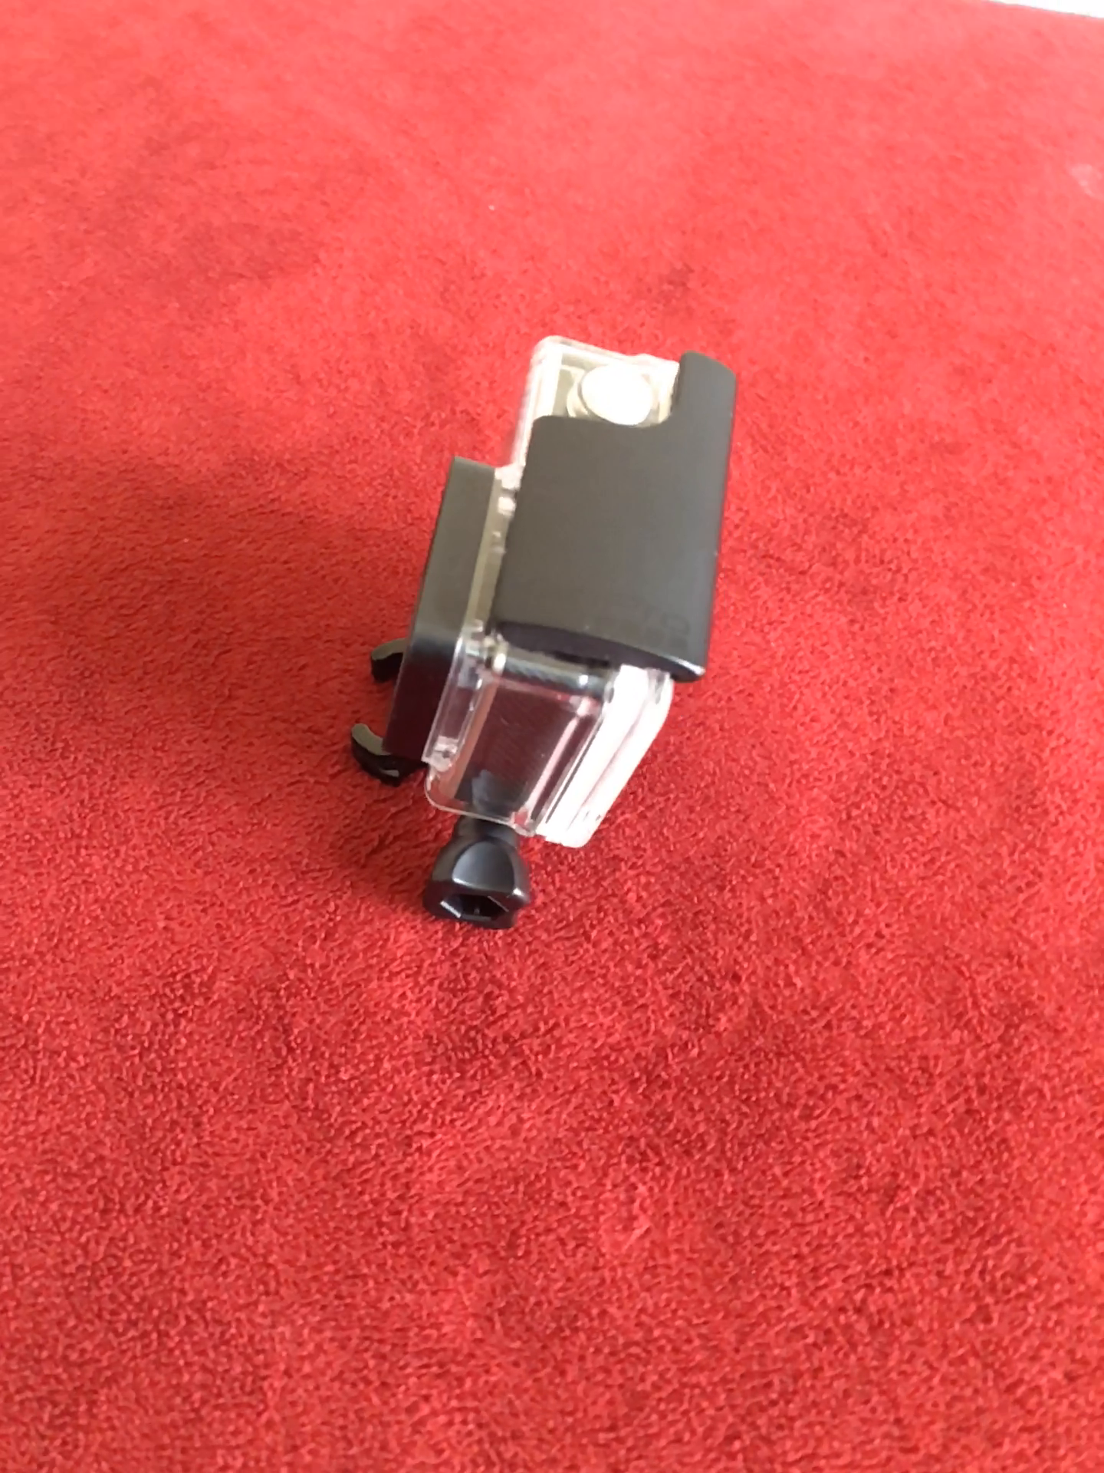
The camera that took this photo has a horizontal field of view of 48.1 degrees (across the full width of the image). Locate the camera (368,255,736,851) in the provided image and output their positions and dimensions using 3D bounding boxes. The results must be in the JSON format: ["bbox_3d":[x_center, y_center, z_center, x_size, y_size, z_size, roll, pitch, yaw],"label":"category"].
[{"bbox_3d":[0.000,-0.029,0.197,0.040,0.050,0.073,14,55,-7],"label":"camera"}]
